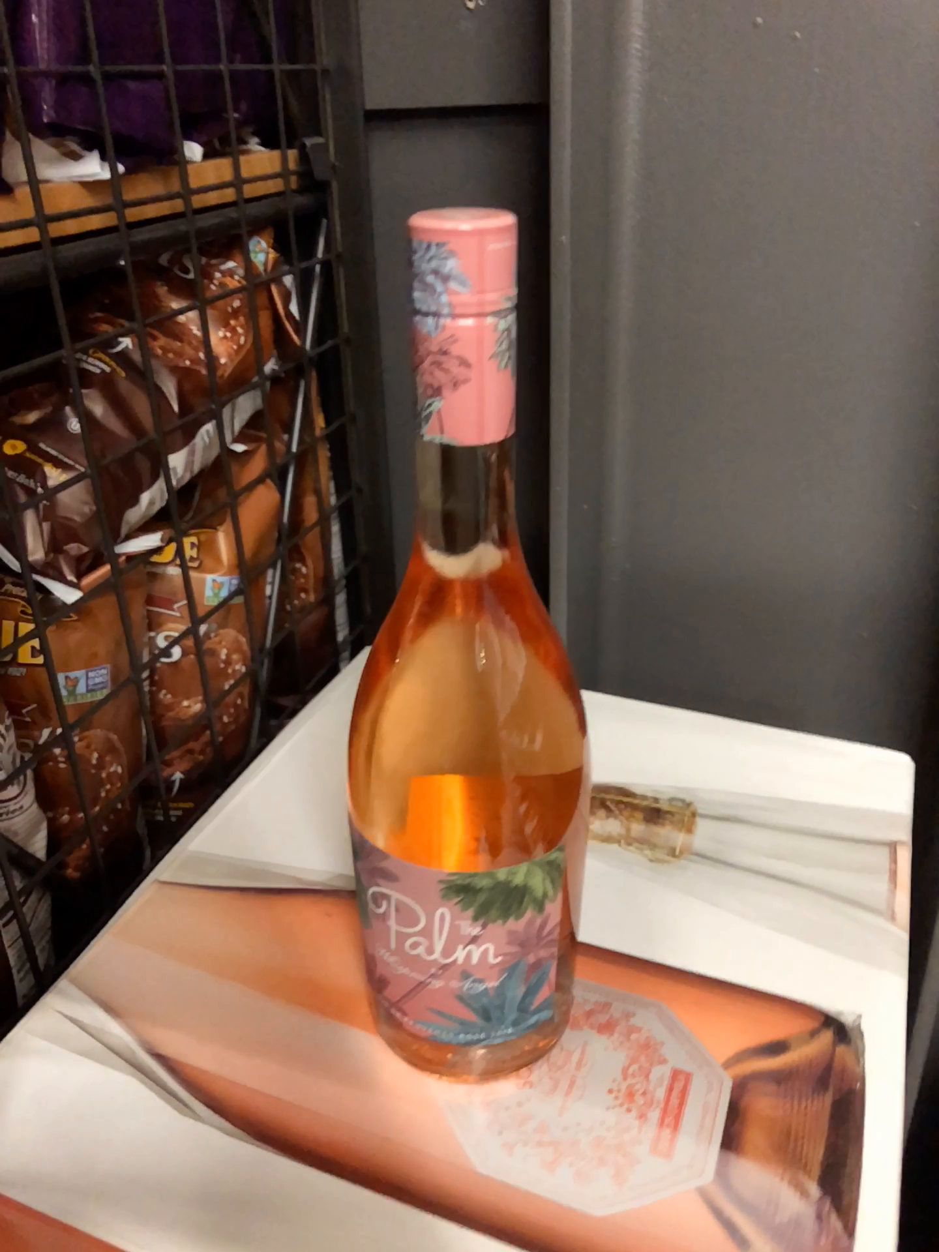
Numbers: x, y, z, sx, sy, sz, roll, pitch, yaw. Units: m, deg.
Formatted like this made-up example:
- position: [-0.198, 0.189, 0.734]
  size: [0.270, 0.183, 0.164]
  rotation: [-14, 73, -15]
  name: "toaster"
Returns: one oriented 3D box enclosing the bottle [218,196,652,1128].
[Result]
- position: [0.001, 0.017, 0.341]
  size: [0.087, 0.285, 0.090]
  rotation: [-2, 27, 1]
  name: "bottle"
